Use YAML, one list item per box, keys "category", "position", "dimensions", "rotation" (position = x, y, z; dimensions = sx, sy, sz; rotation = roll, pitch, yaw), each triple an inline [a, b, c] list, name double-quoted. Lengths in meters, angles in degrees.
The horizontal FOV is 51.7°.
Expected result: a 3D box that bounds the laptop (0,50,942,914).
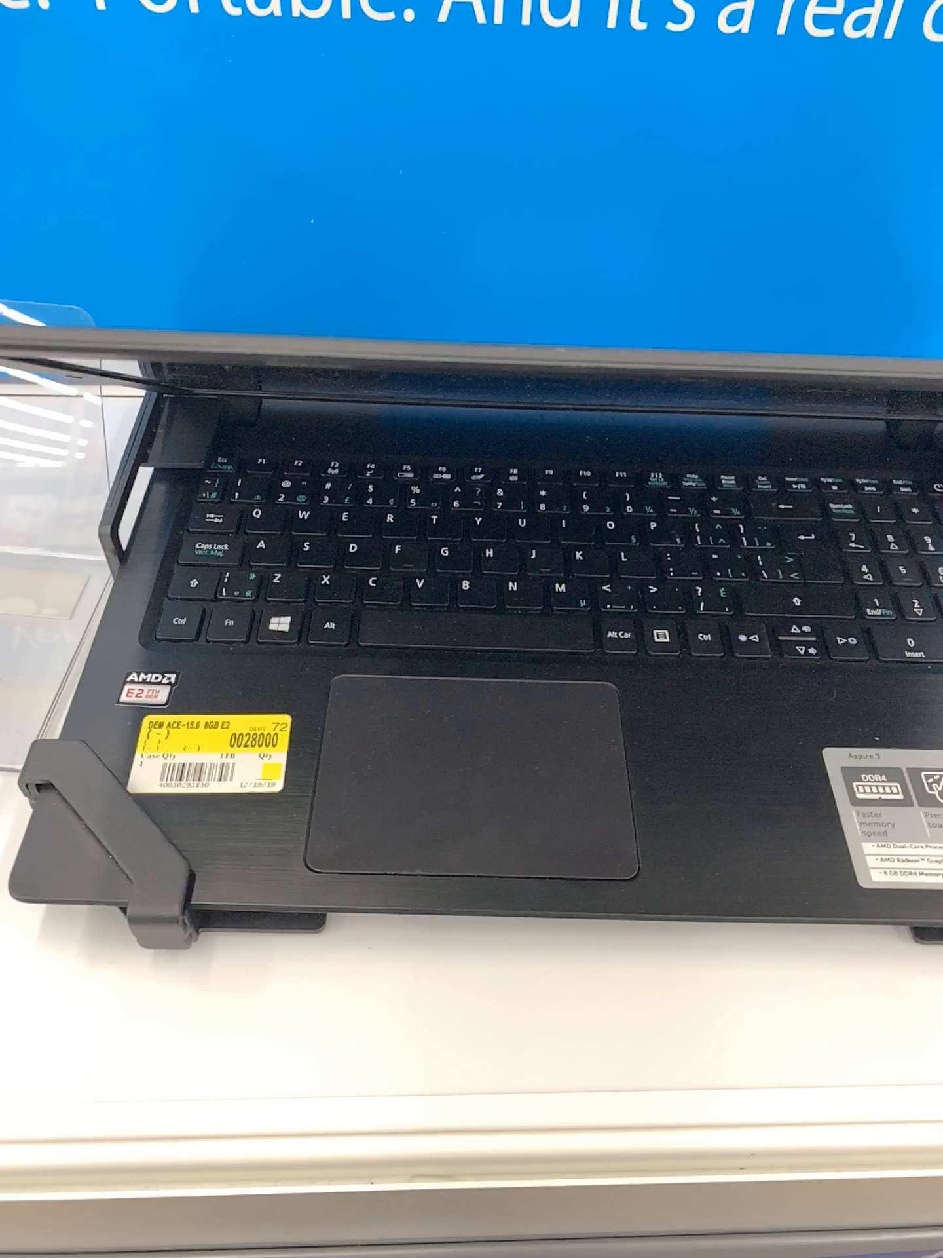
- category: "laptop"
  position: [0.050, -0.050, 0.313]
  dimensions: [0.364, 0.137, 0.222]
  rotation: [2, 52, -2]
